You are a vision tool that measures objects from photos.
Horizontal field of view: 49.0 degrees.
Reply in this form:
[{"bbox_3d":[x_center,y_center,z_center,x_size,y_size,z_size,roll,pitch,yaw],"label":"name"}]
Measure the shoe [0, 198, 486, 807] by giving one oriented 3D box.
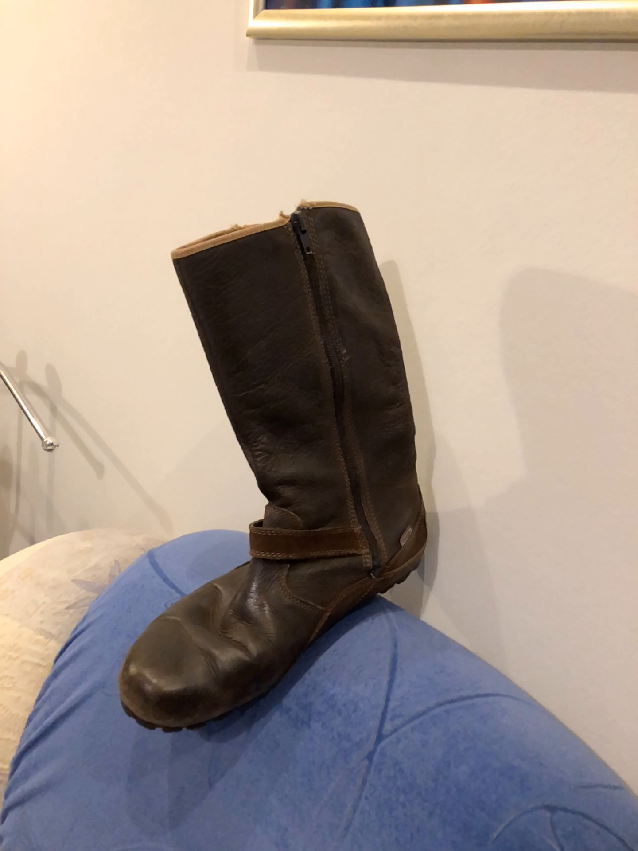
[{"bbox_3d":[-0.020,0.030,0.454,0.110,0.278,0.272,23,40,38],"label":"shoe"}]
